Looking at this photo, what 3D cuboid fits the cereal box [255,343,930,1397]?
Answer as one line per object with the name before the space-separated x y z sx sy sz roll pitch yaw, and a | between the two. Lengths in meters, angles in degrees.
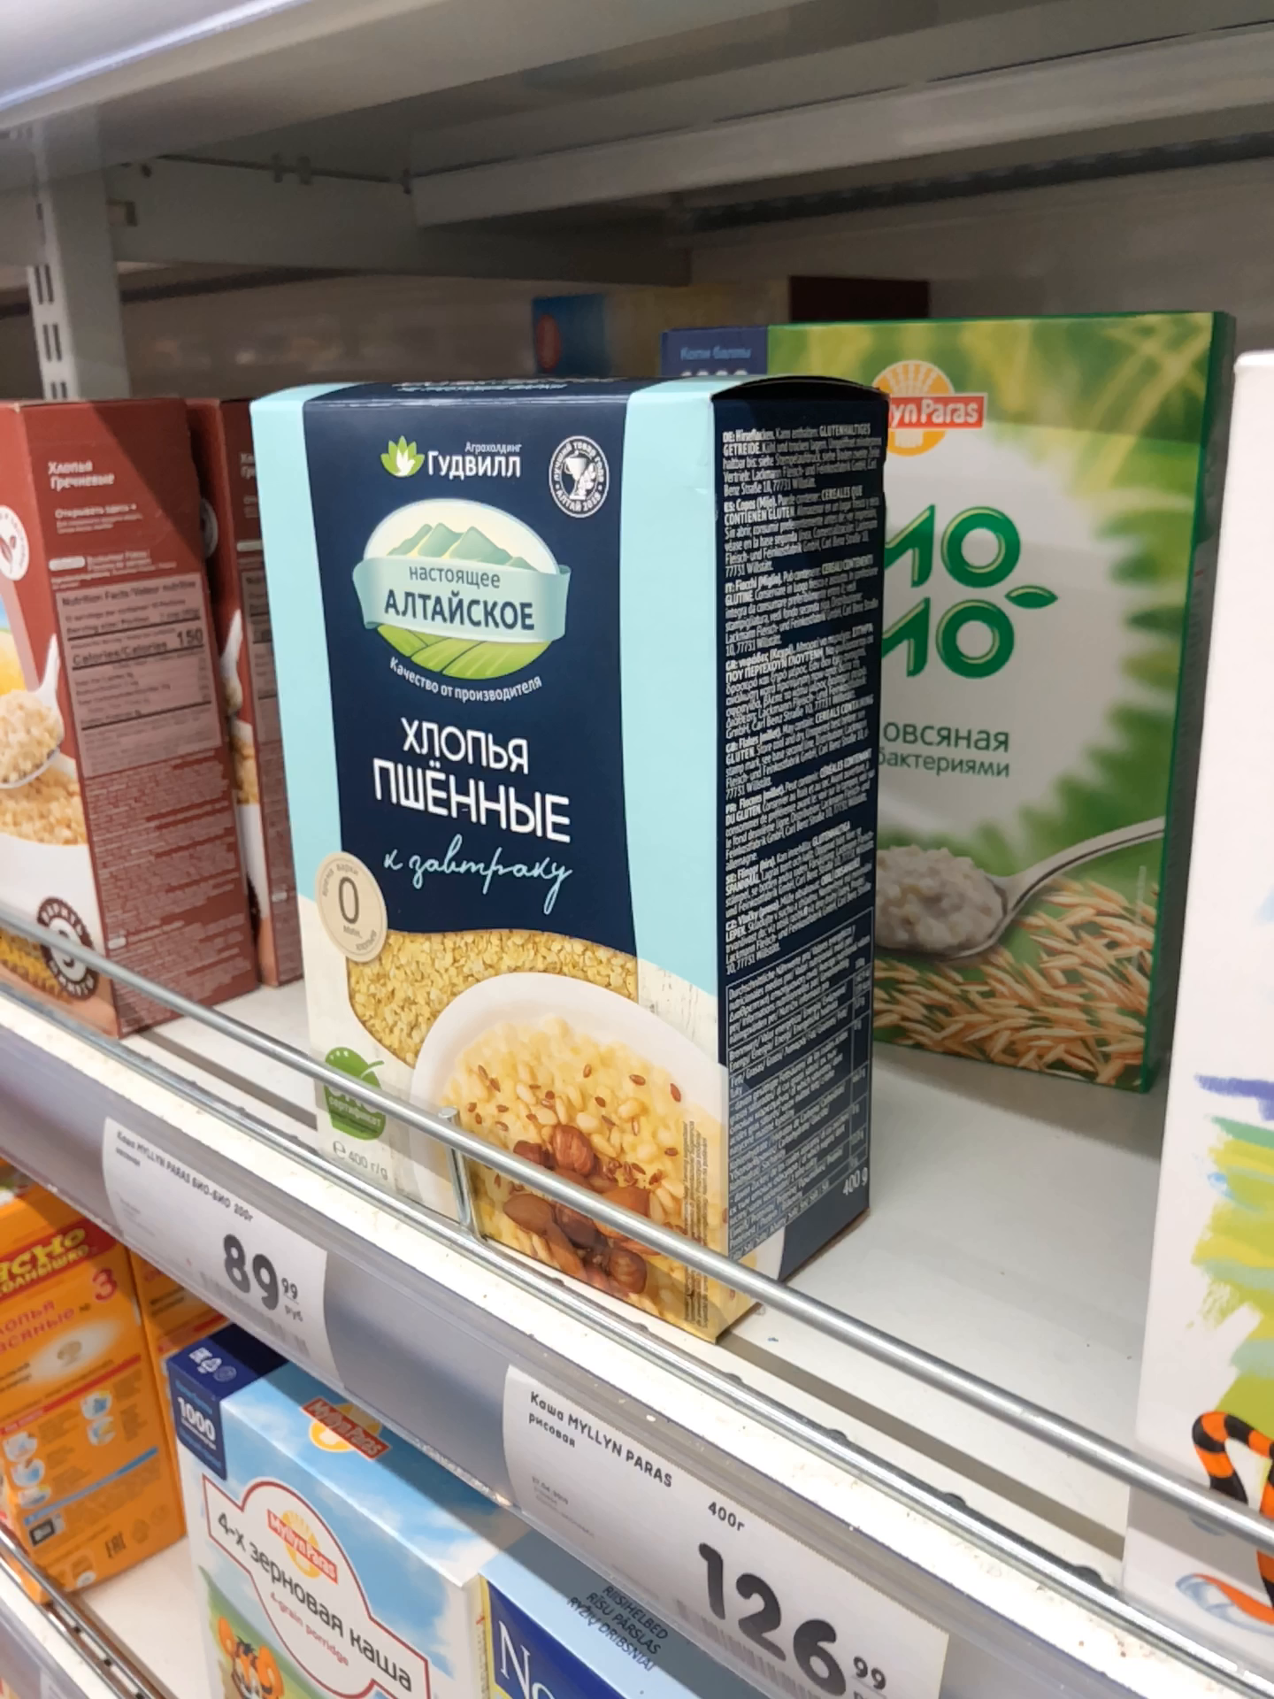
cereal box | -0.011 -0.004 0.317 0.130 0.199 0.060 12 22 38
